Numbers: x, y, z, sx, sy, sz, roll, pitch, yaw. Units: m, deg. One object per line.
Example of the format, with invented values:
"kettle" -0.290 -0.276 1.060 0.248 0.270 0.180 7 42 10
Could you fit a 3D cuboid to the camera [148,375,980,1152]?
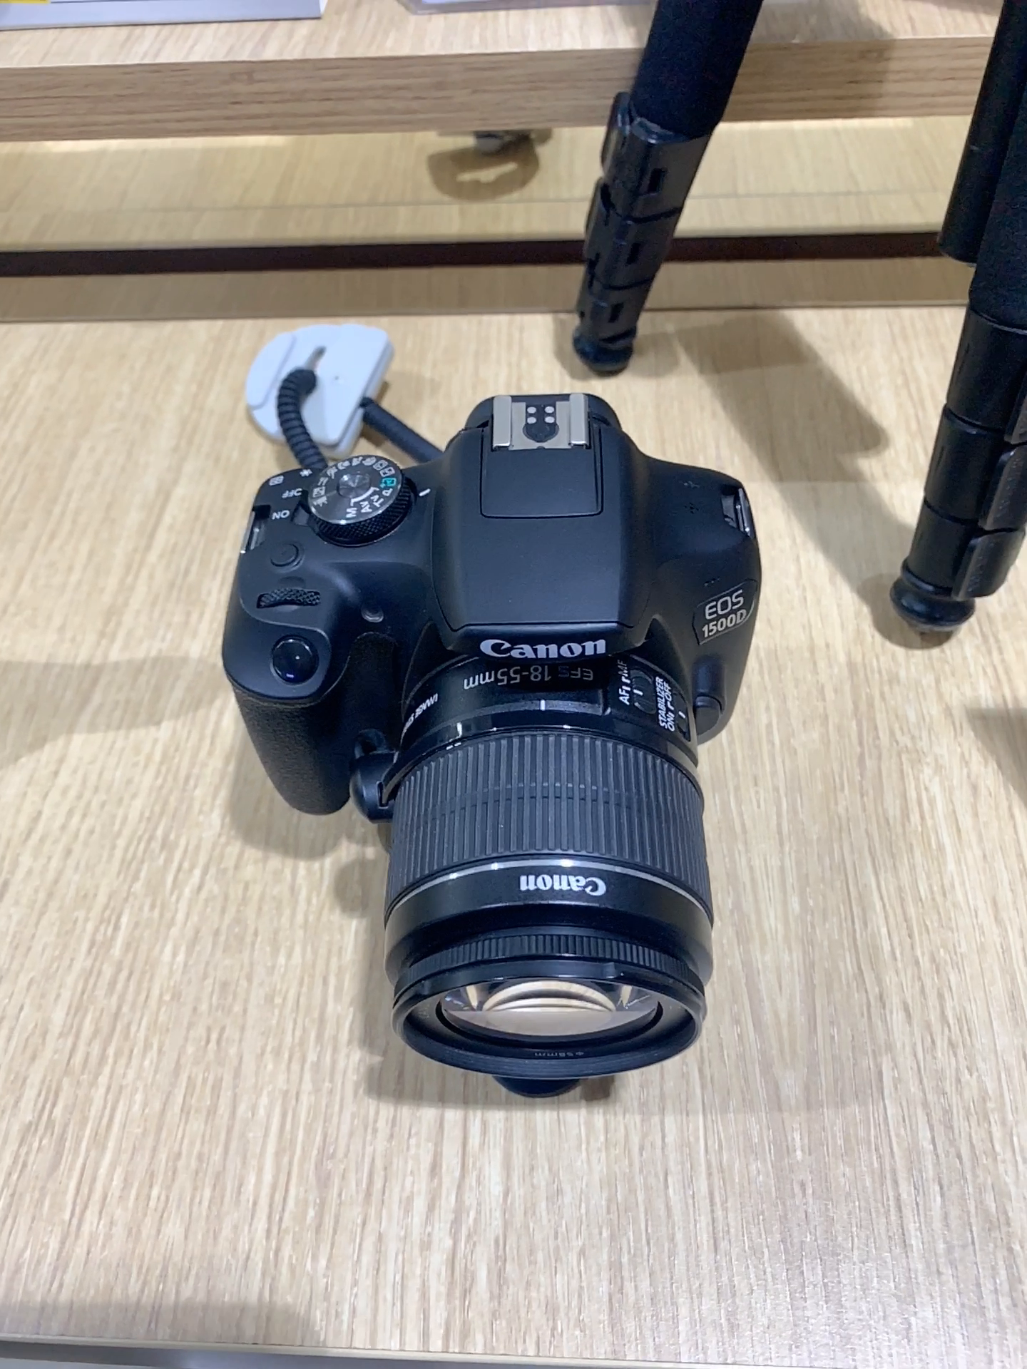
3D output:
"camera" 0.008 0.015 0.233 0.121 0.088 0.140 -2 52 2
